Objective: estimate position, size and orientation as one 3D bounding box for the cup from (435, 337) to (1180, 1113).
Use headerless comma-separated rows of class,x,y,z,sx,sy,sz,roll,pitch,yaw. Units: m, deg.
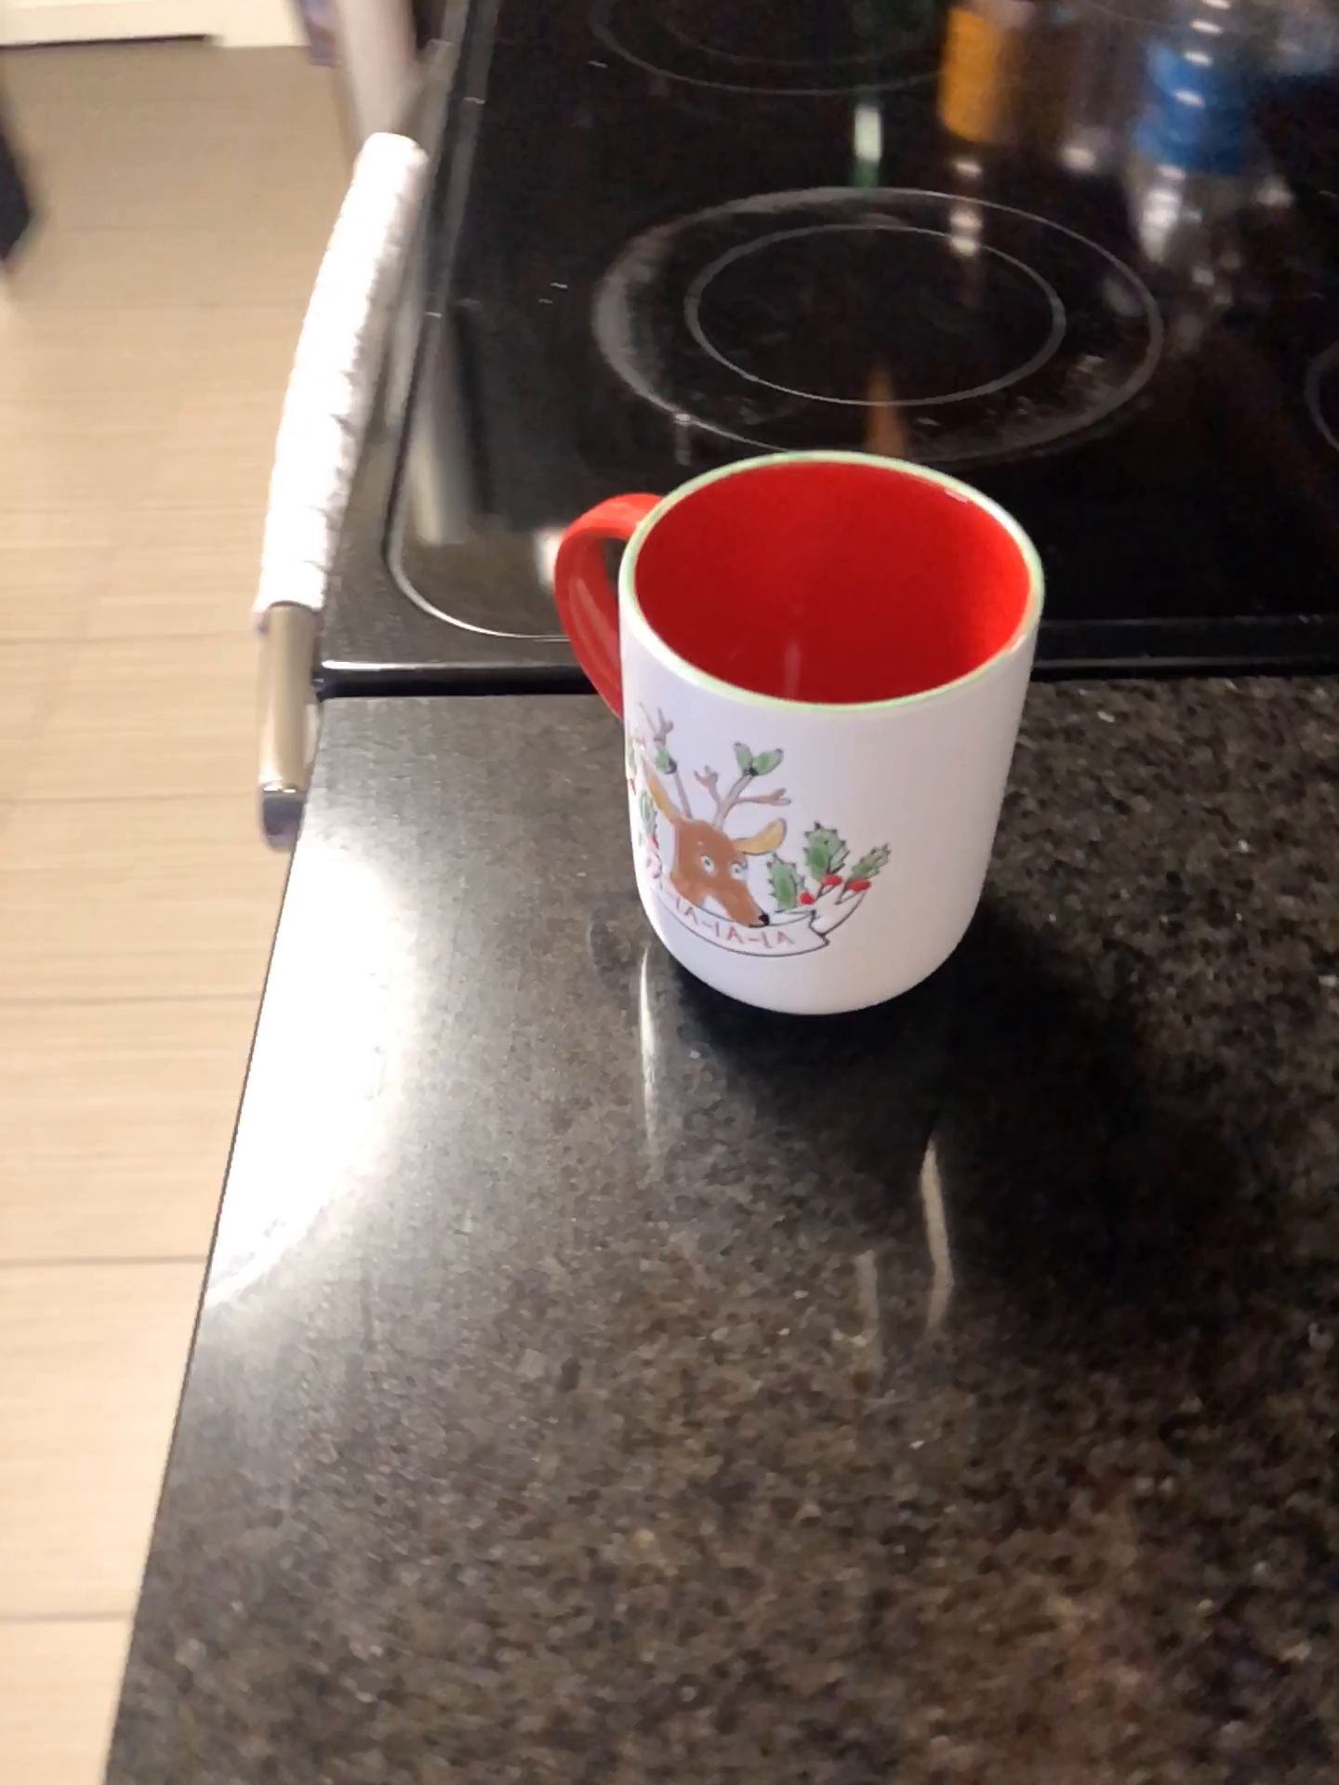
cup,0.028,-0.043,0.355,0.130,0.110,0.090,35,58,28
